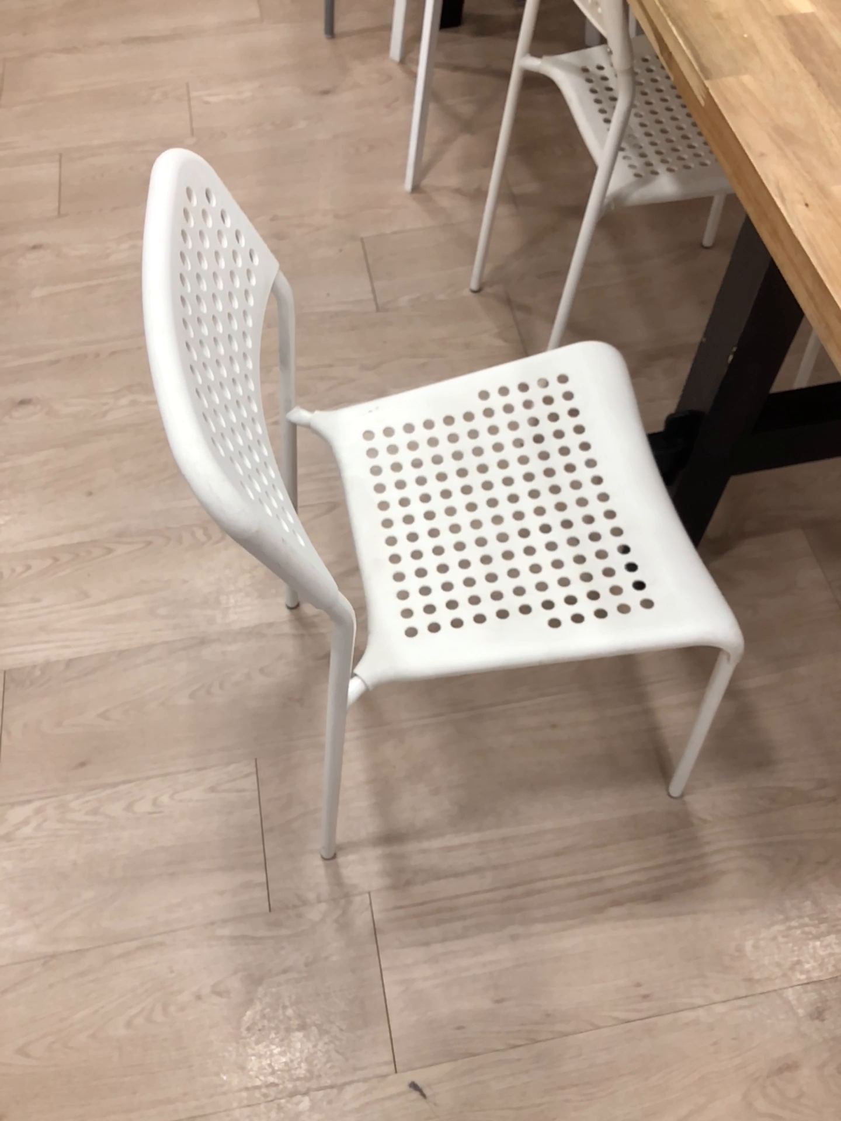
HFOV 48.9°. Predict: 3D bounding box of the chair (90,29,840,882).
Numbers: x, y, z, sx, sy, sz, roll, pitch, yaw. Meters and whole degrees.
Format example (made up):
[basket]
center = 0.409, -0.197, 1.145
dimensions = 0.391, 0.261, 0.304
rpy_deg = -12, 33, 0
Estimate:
[chair]
center = 0.027, -0.023, 0.899
dimensions = 0.450, 0.697, 0.422
rpy_deg = -9, 58, -3
